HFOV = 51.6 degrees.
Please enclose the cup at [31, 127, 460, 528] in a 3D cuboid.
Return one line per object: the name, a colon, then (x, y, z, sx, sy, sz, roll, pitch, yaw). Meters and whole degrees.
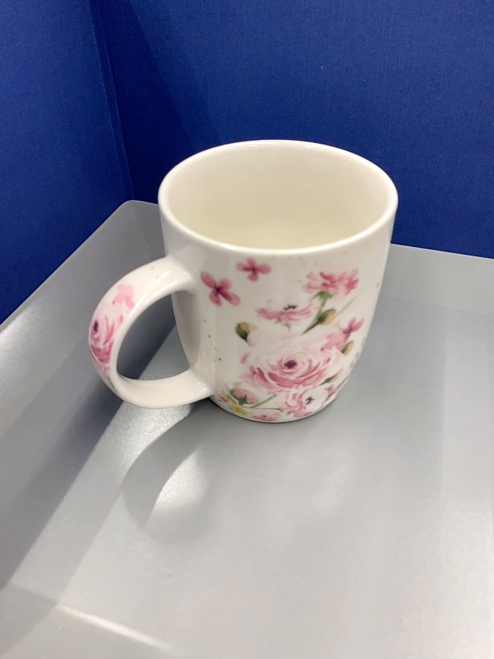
cup: (-0.003, -0.010, 0.191, 0.110, 0.087, 0.085, -21, 43, -22)
